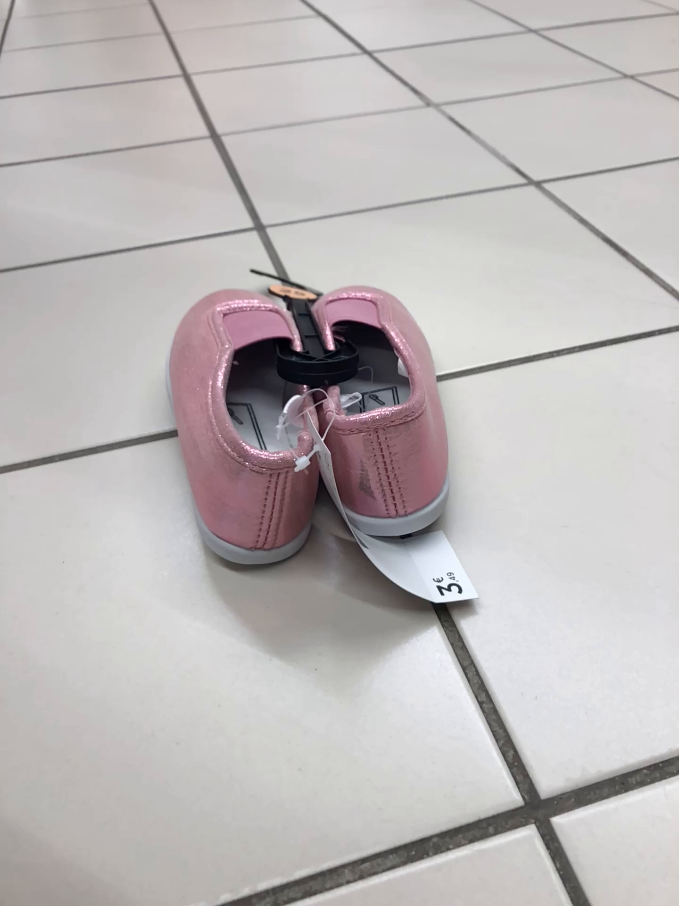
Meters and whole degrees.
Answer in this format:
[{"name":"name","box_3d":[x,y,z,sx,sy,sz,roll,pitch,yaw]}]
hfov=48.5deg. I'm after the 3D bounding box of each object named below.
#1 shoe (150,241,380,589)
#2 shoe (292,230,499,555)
[{"name":"shoe","box_3d":[-0.038,-0.028,0.321,0.069,0.050,0.164,-10,41,-8]},{"name":"shoe","box_3d":[0.016,-0.037,0.328,0.059,0.051,0.162,-6,41,-3]}]
